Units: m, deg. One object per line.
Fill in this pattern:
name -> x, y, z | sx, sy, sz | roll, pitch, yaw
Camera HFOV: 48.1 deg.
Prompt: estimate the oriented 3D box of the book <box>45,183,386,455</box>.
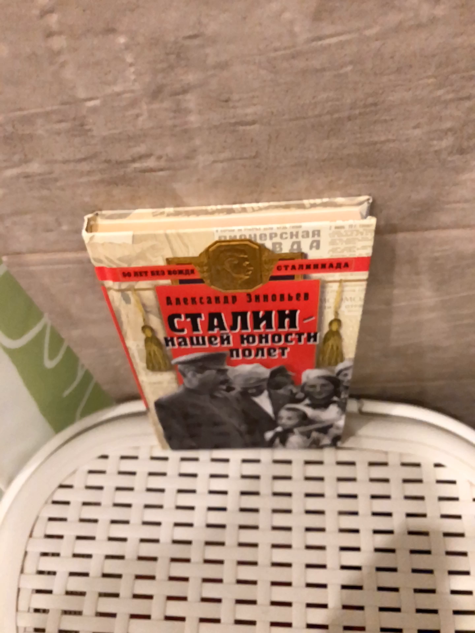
book -> -0.003, 0.019, 0.302 | 0.140, 0.199, 0.030 | -1, 50, 5
